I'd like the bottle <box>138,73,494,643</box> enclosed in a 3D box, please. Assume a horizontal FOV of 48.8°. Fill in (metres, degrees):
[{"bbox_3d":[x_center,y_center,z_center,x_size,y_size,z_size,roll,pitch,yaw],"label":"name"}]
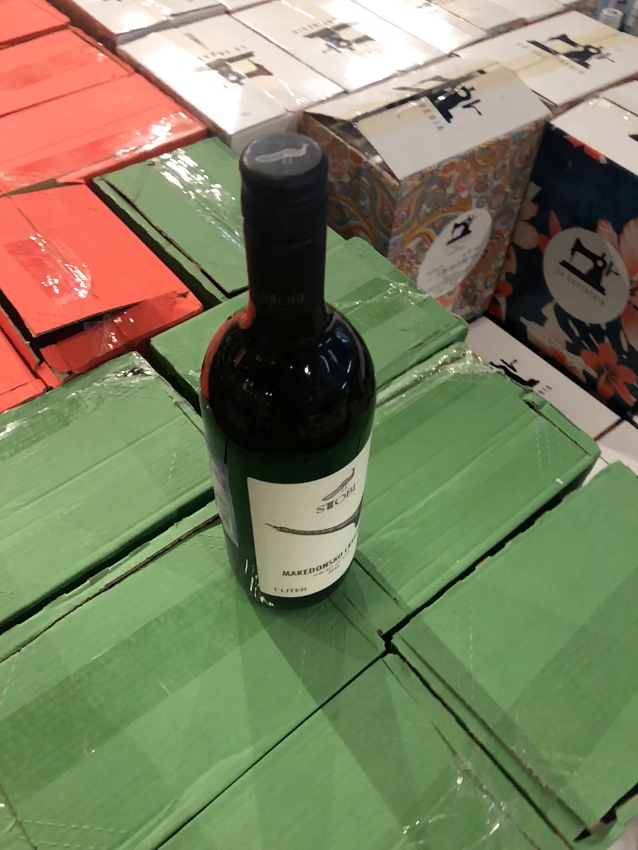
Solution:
[{"bbox_3d":[-0.009,-0.002,0.350,0.090,0.288,0.080,-27,58,-23],"label":"bottle"}]
